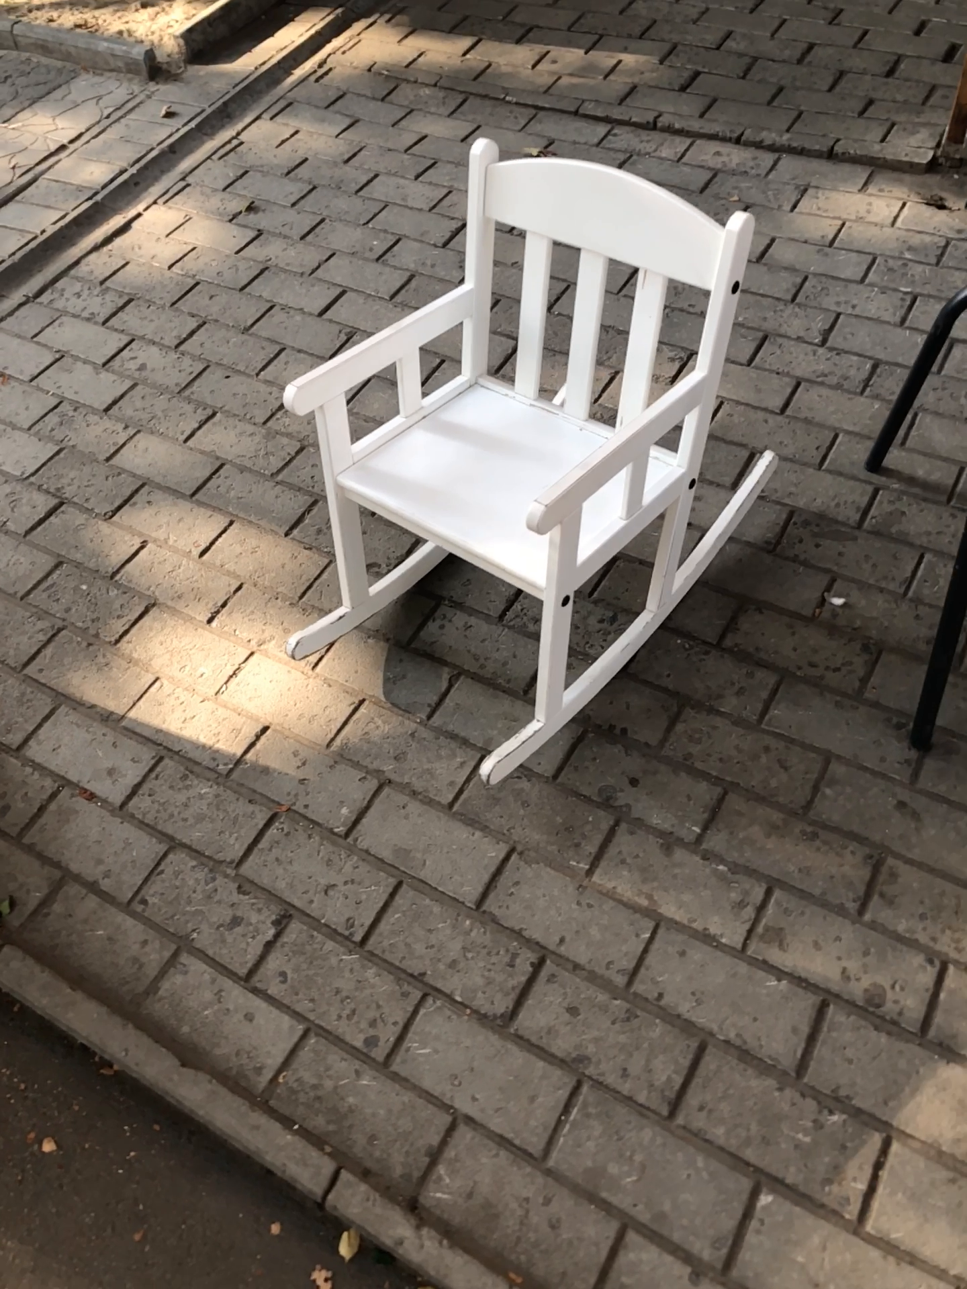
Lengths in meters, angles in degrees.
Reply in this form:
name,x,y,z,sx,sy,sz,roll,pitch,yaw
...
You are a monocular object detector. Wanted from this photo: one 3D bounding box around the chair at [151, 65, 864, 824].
name,x,y,z,sx,sy,sz,roll,pitch,yaw
chair,0.075,-0.268,1.307,0.381,0.518,0.731,30,59,27
